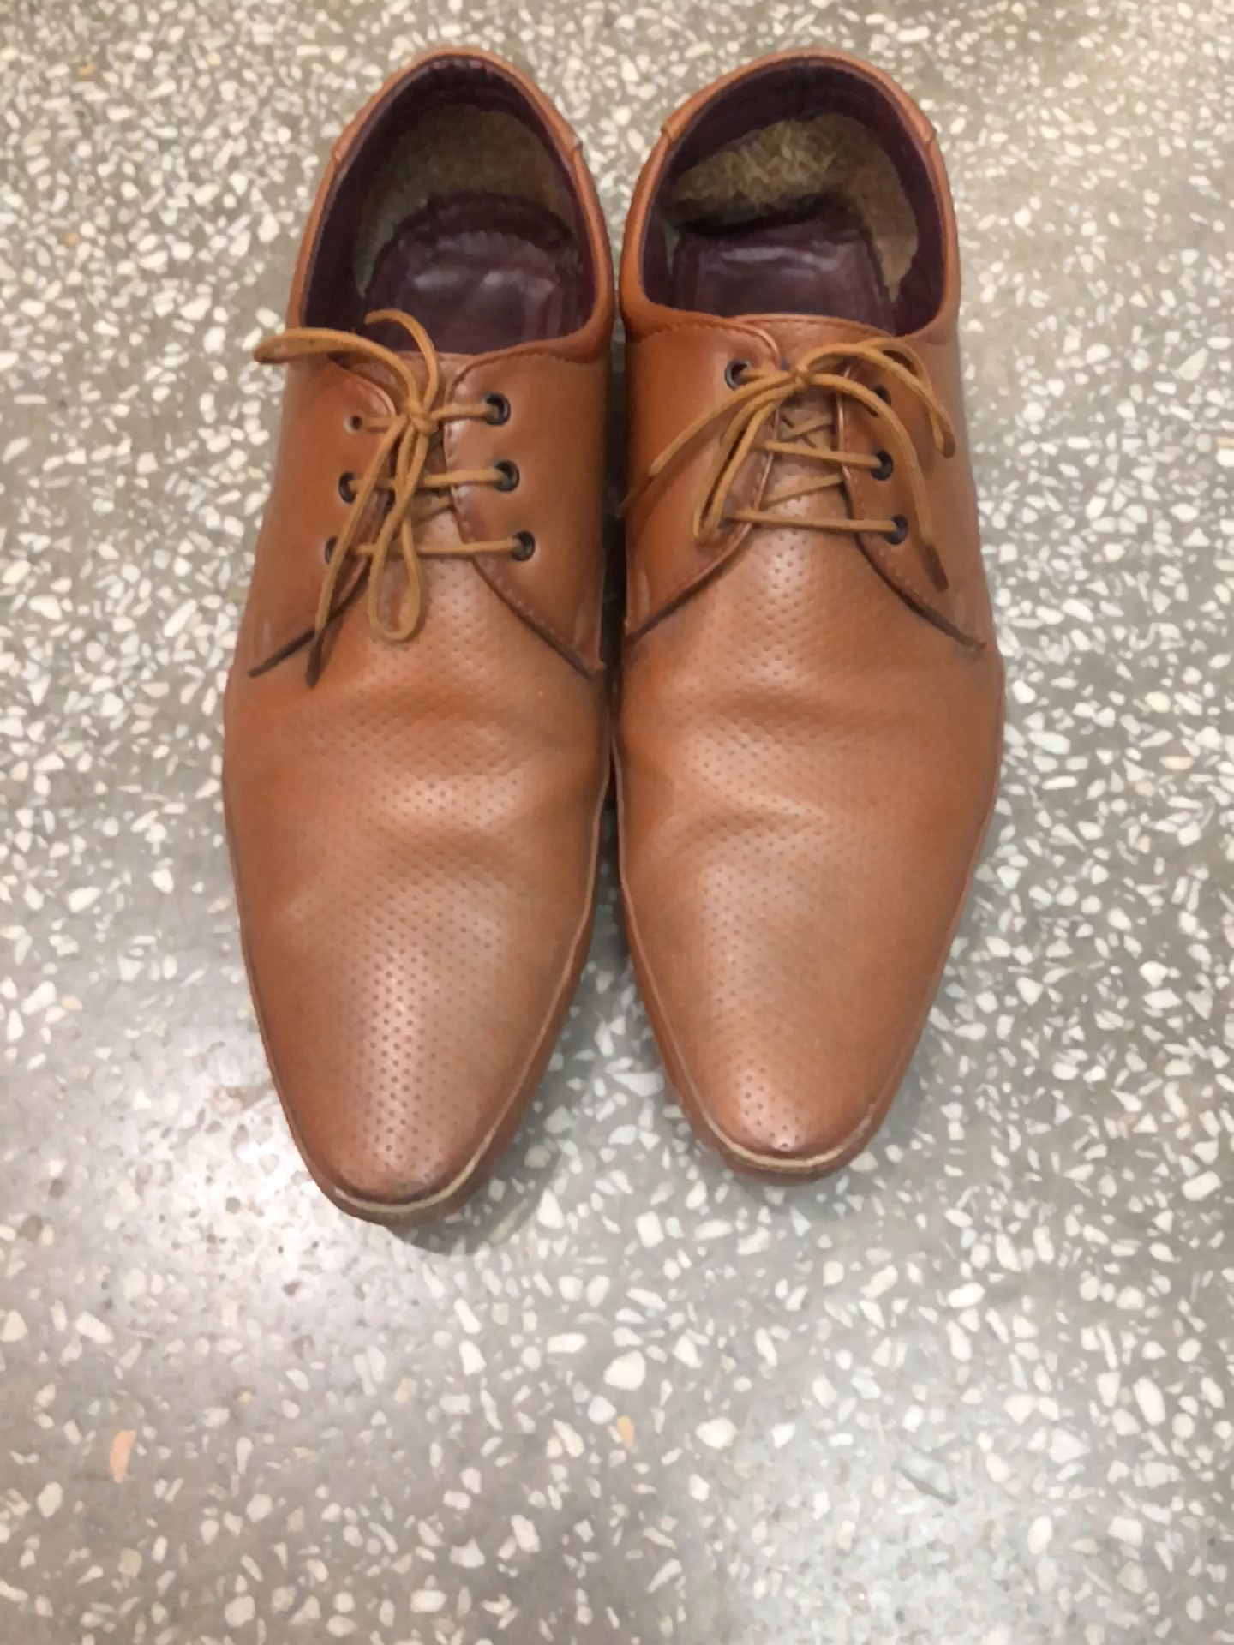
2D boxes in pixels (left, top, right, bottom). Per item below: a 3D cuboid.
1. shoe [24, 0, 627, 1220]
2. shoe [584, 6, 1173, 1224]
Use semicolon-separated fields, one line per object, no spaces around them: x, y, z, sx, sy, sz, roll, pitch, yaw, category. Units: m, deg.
-0.051;-0.052;0.350;0.105;0.118;0.285;1;70;0;shoe
0.048;-0.050;0.351;0.105;0.118;0.285;1;70;0;shoe
